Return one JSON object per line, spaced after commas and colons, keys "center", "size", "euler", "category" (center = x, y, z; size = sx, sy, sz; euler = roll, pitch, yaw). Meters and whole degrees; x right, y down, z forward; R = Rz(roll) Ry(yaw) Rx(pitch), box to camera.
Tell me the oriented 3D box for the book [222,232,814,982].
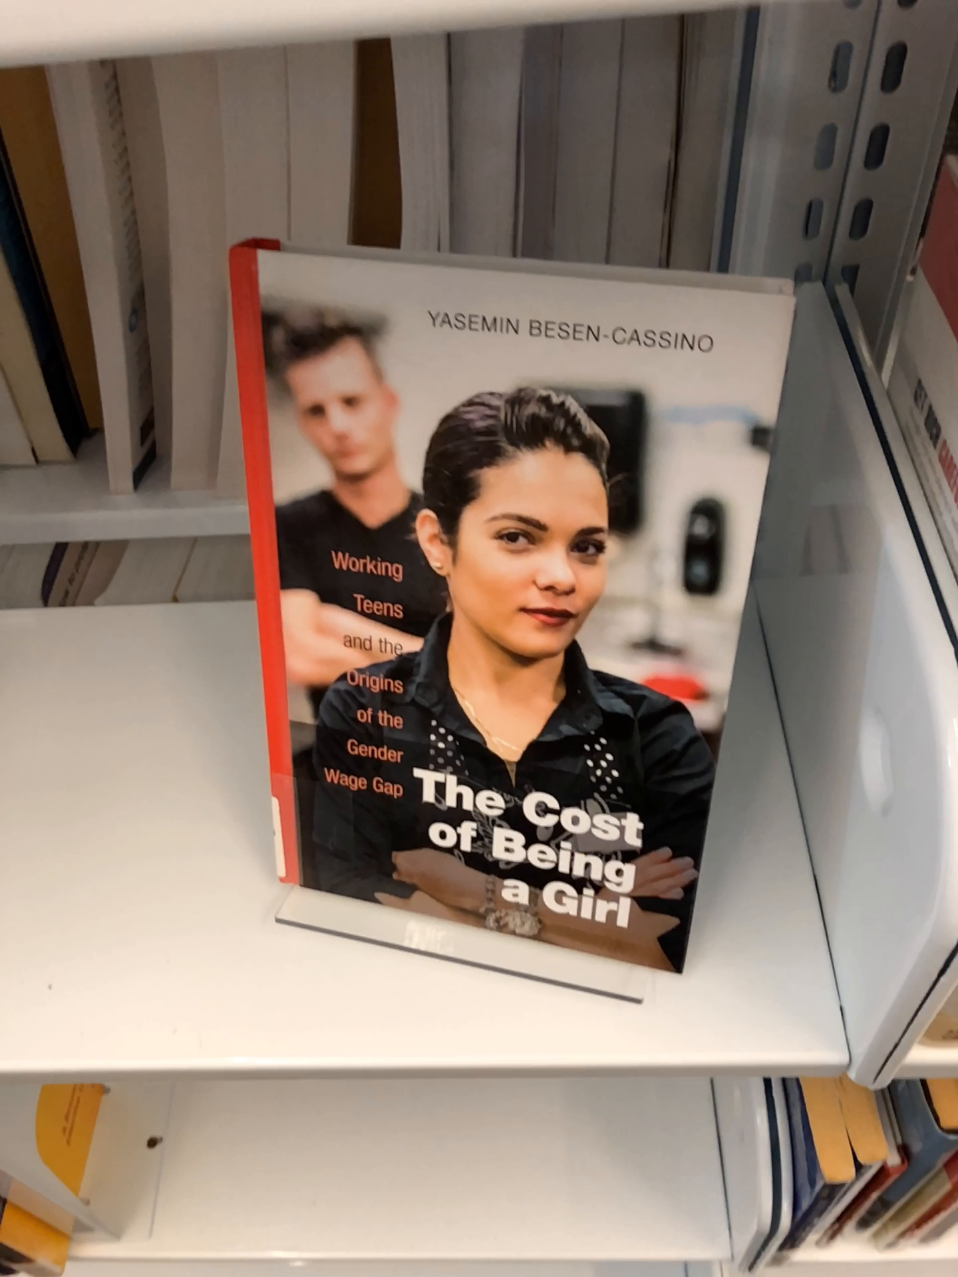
{"center": [0.006, -0.002, 0.340], "size": [0.157, 0.230, 0.030], "euler": [9, 29, 13], "category": "book"}
